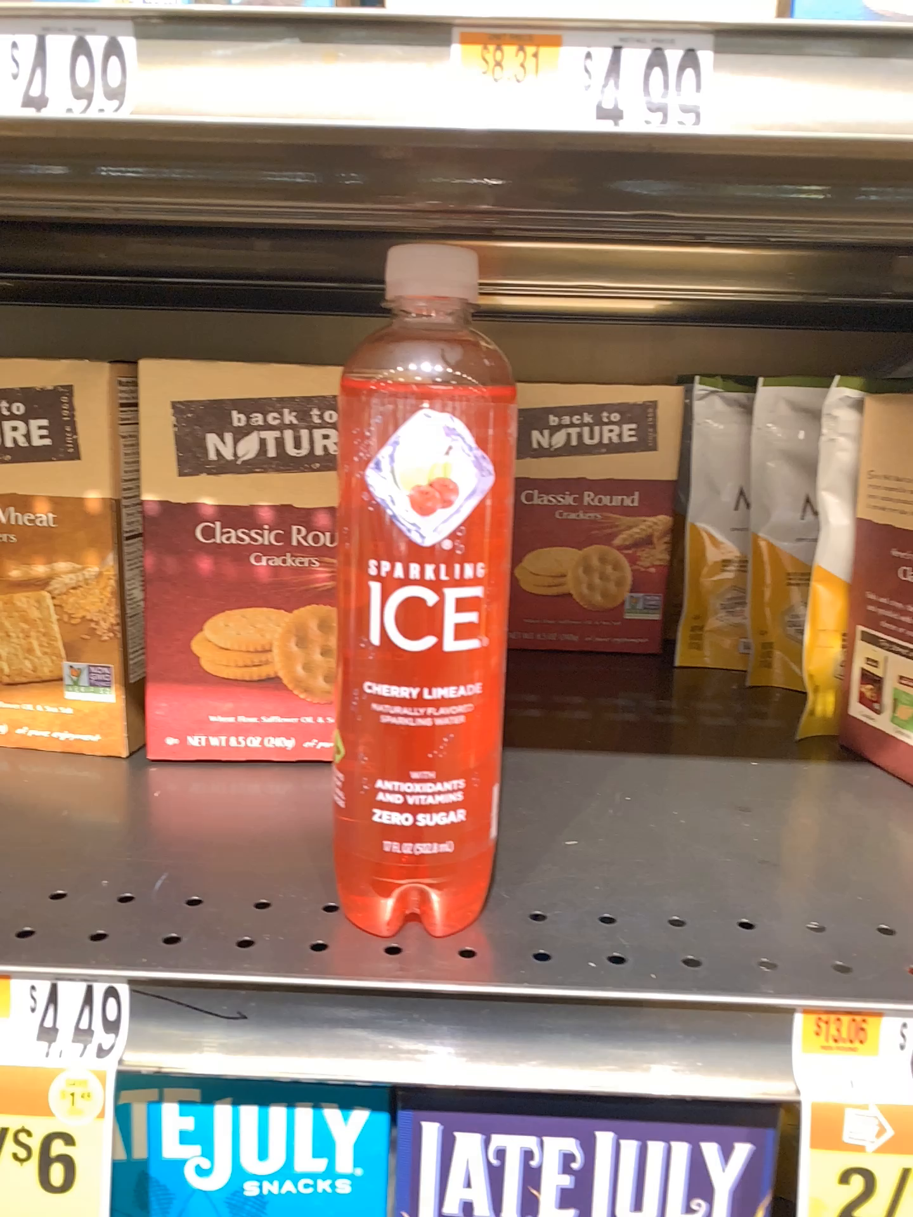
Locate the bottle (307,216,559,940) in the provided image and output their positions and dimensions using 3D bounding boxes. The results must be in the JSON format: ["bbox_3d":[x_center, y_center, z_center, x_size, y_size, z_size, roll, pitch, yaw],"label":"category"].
[{"bbox_3d":[-0.010,-0.006,0.298,0.065,0.211,0.060,2,14,-1],"label":"bottle"}]
